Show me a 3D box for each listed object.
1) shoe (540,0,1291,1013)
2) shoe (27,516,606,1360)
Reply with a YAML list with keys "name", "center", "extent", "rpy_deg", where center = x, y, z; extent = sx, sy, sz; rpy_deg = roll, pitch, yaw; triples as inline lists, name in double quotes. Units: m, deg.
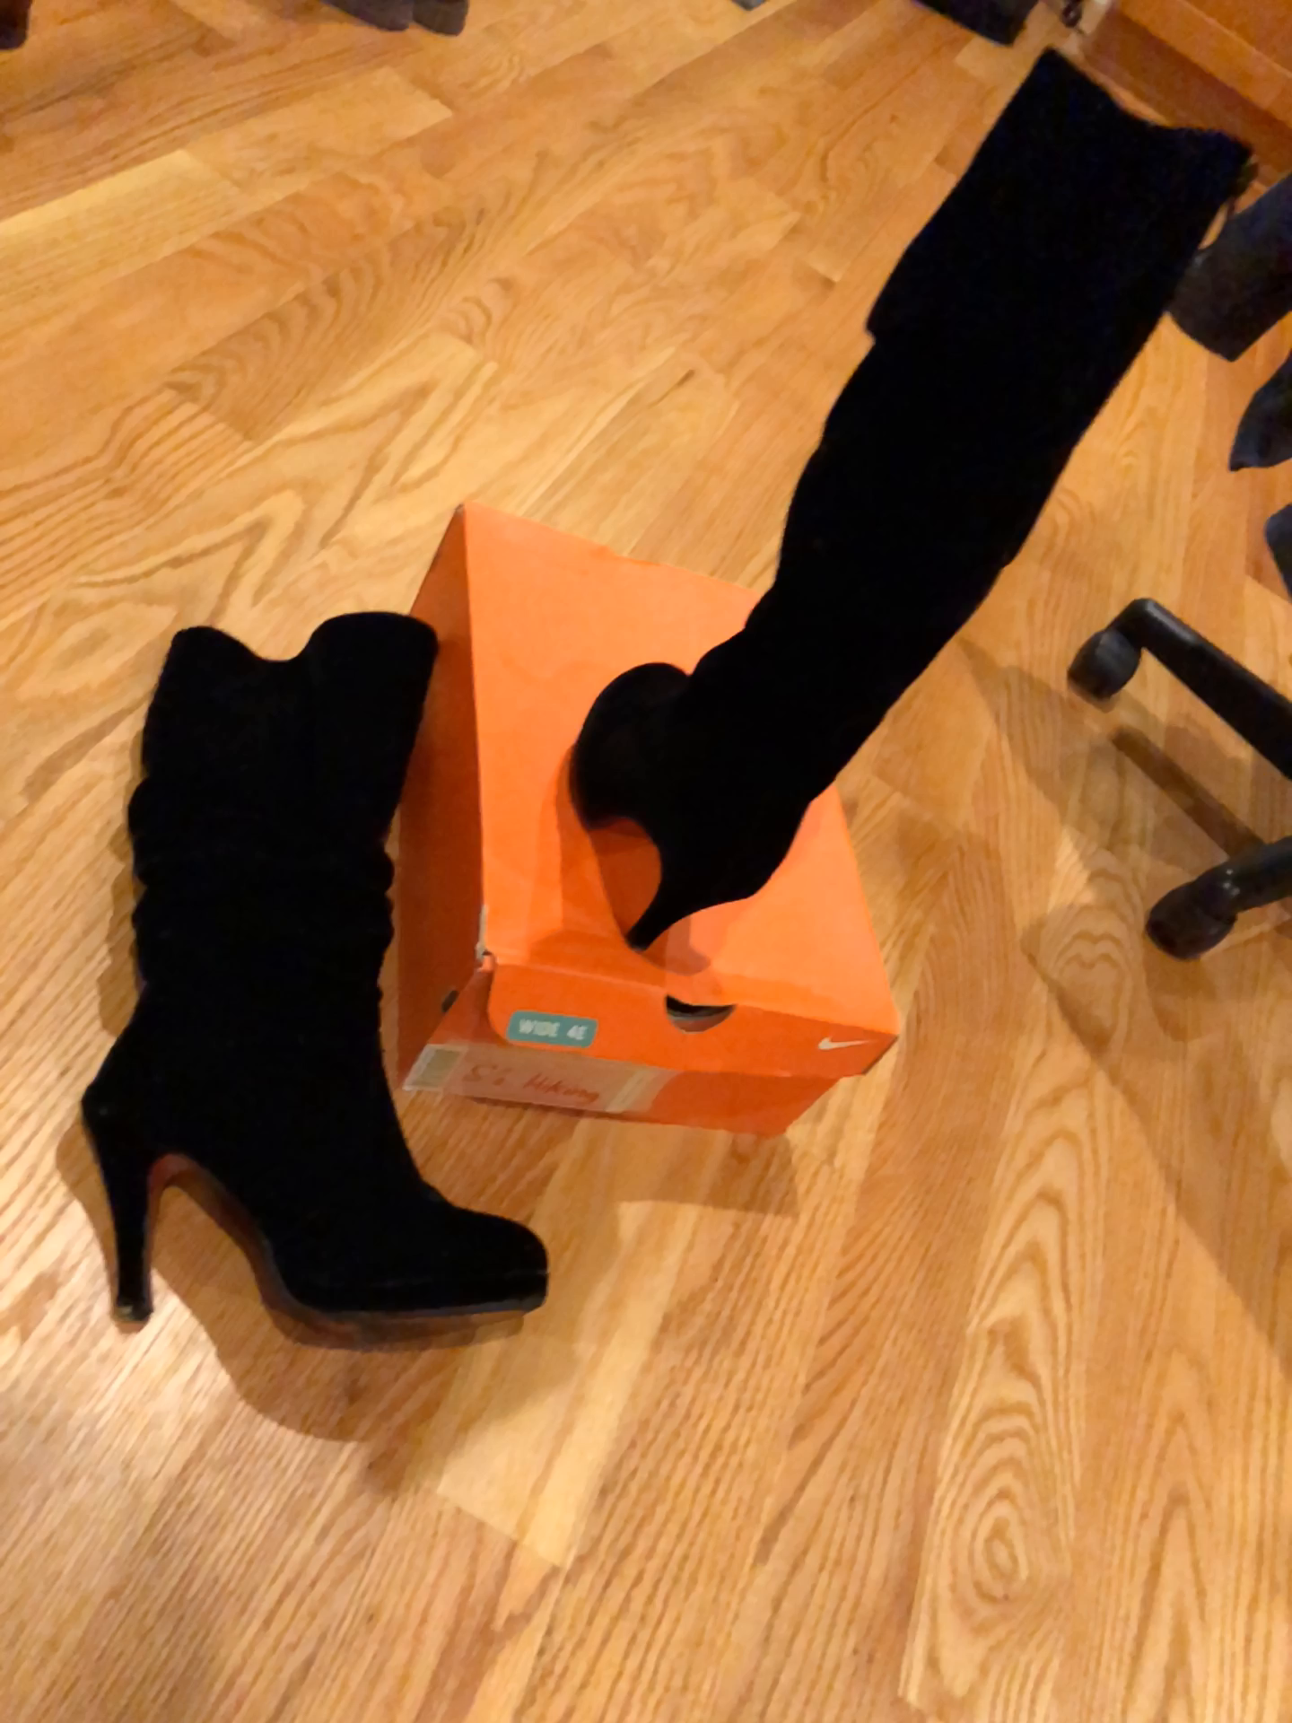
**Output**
- name: "shoe"
  center: [0.074, -0.141, 0.588]
  extent: [0.089, 0.397, 0.217]
  rpy_deg: [16, 46, -21]
- name: "shoe"
  center: [-0.152, 0.021, 0.680]
  extent: [0.206, 0.089, 0.401]
  rpy_deg: [10, 48, -23]
